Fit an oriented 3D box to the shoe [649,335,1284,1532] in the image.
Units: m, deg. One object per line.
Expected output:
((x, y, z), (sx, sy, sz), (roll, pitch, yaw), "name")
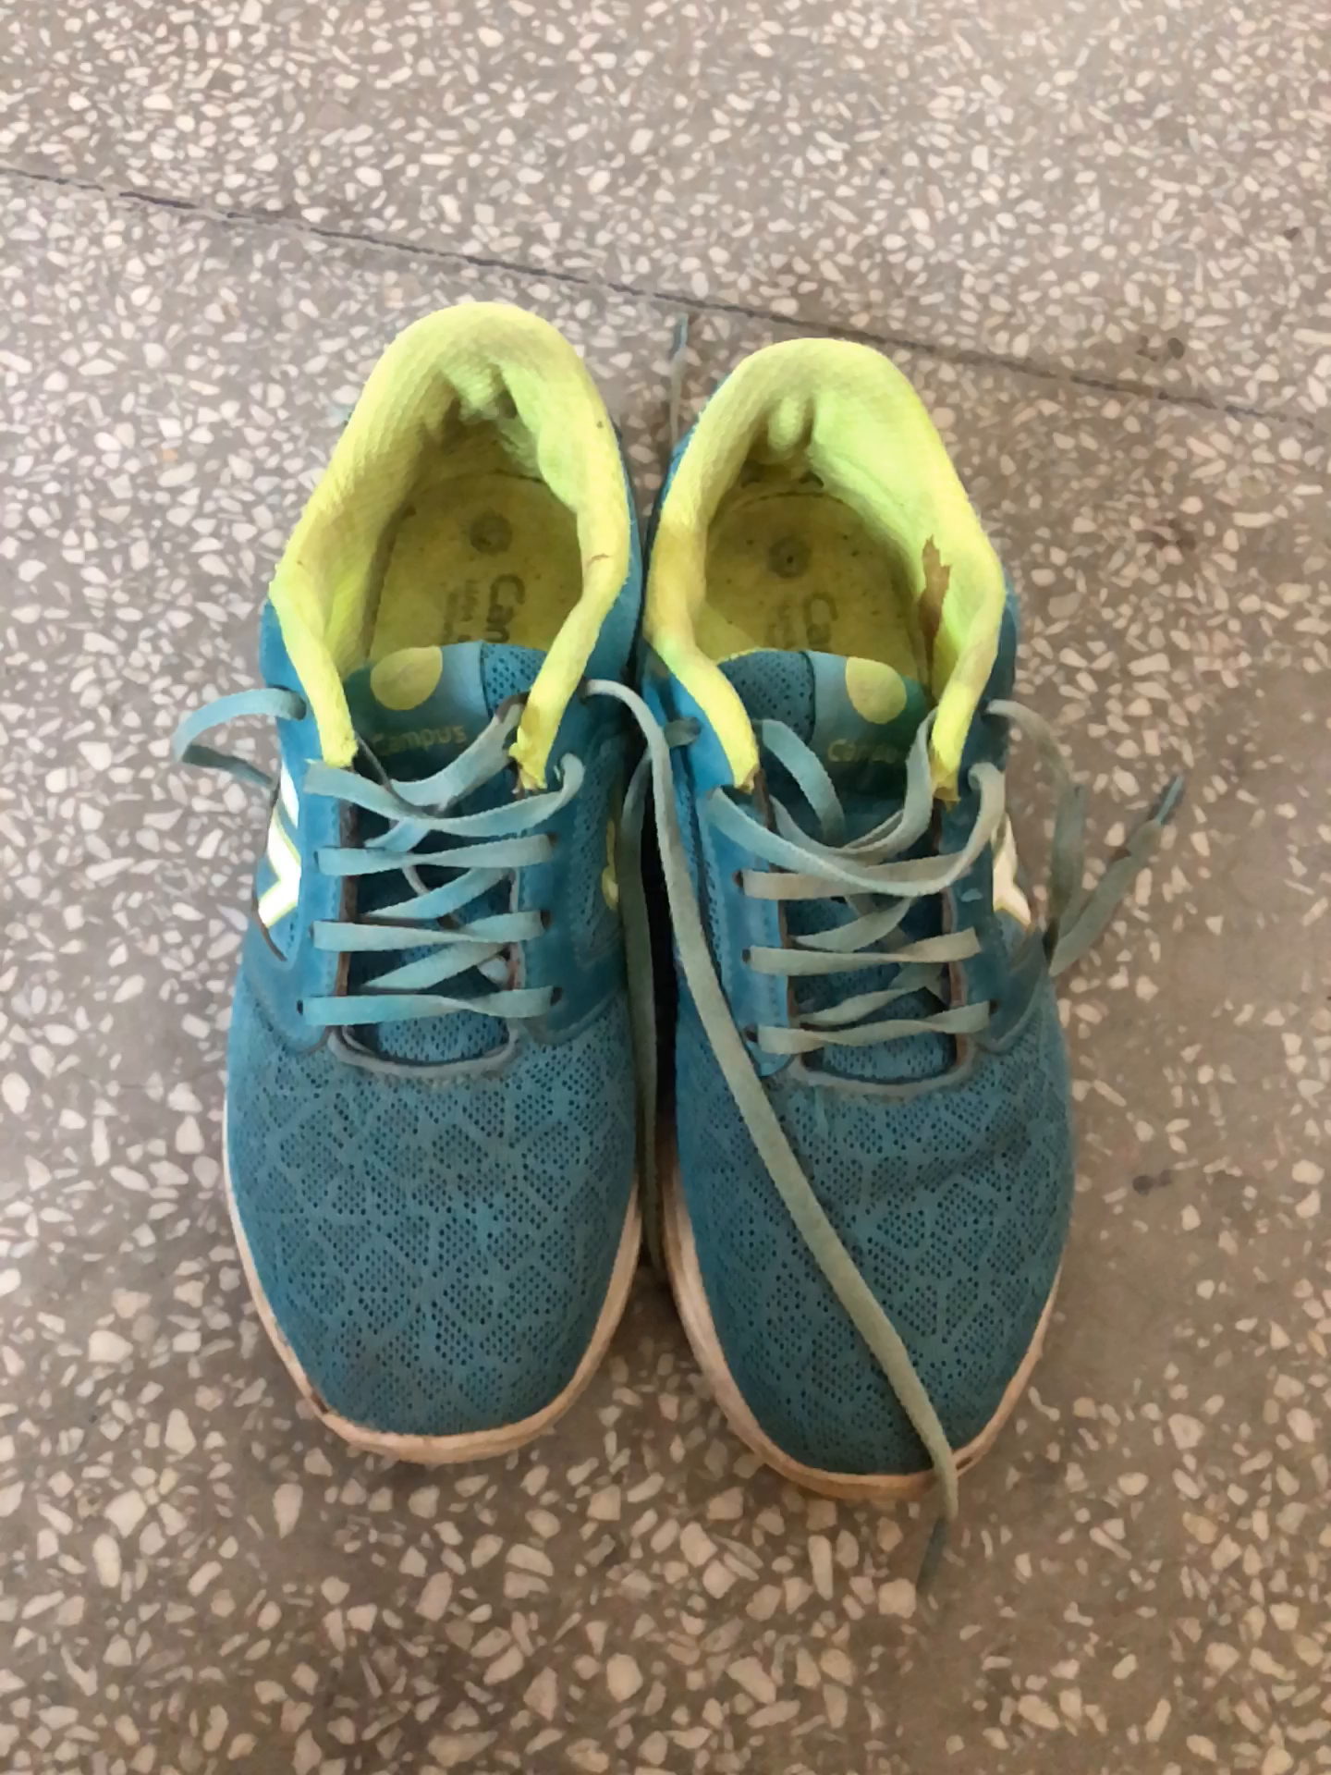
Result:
((0.047, 0.007, 0.313), (0.094, 0.088, 0.229), (0, 70, -2), "shoe")

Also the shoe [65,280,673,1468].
((-0.048, -0.002, 0.316), (0.091, 0.092, 0.230), (2, 70, -2), "shoe")
